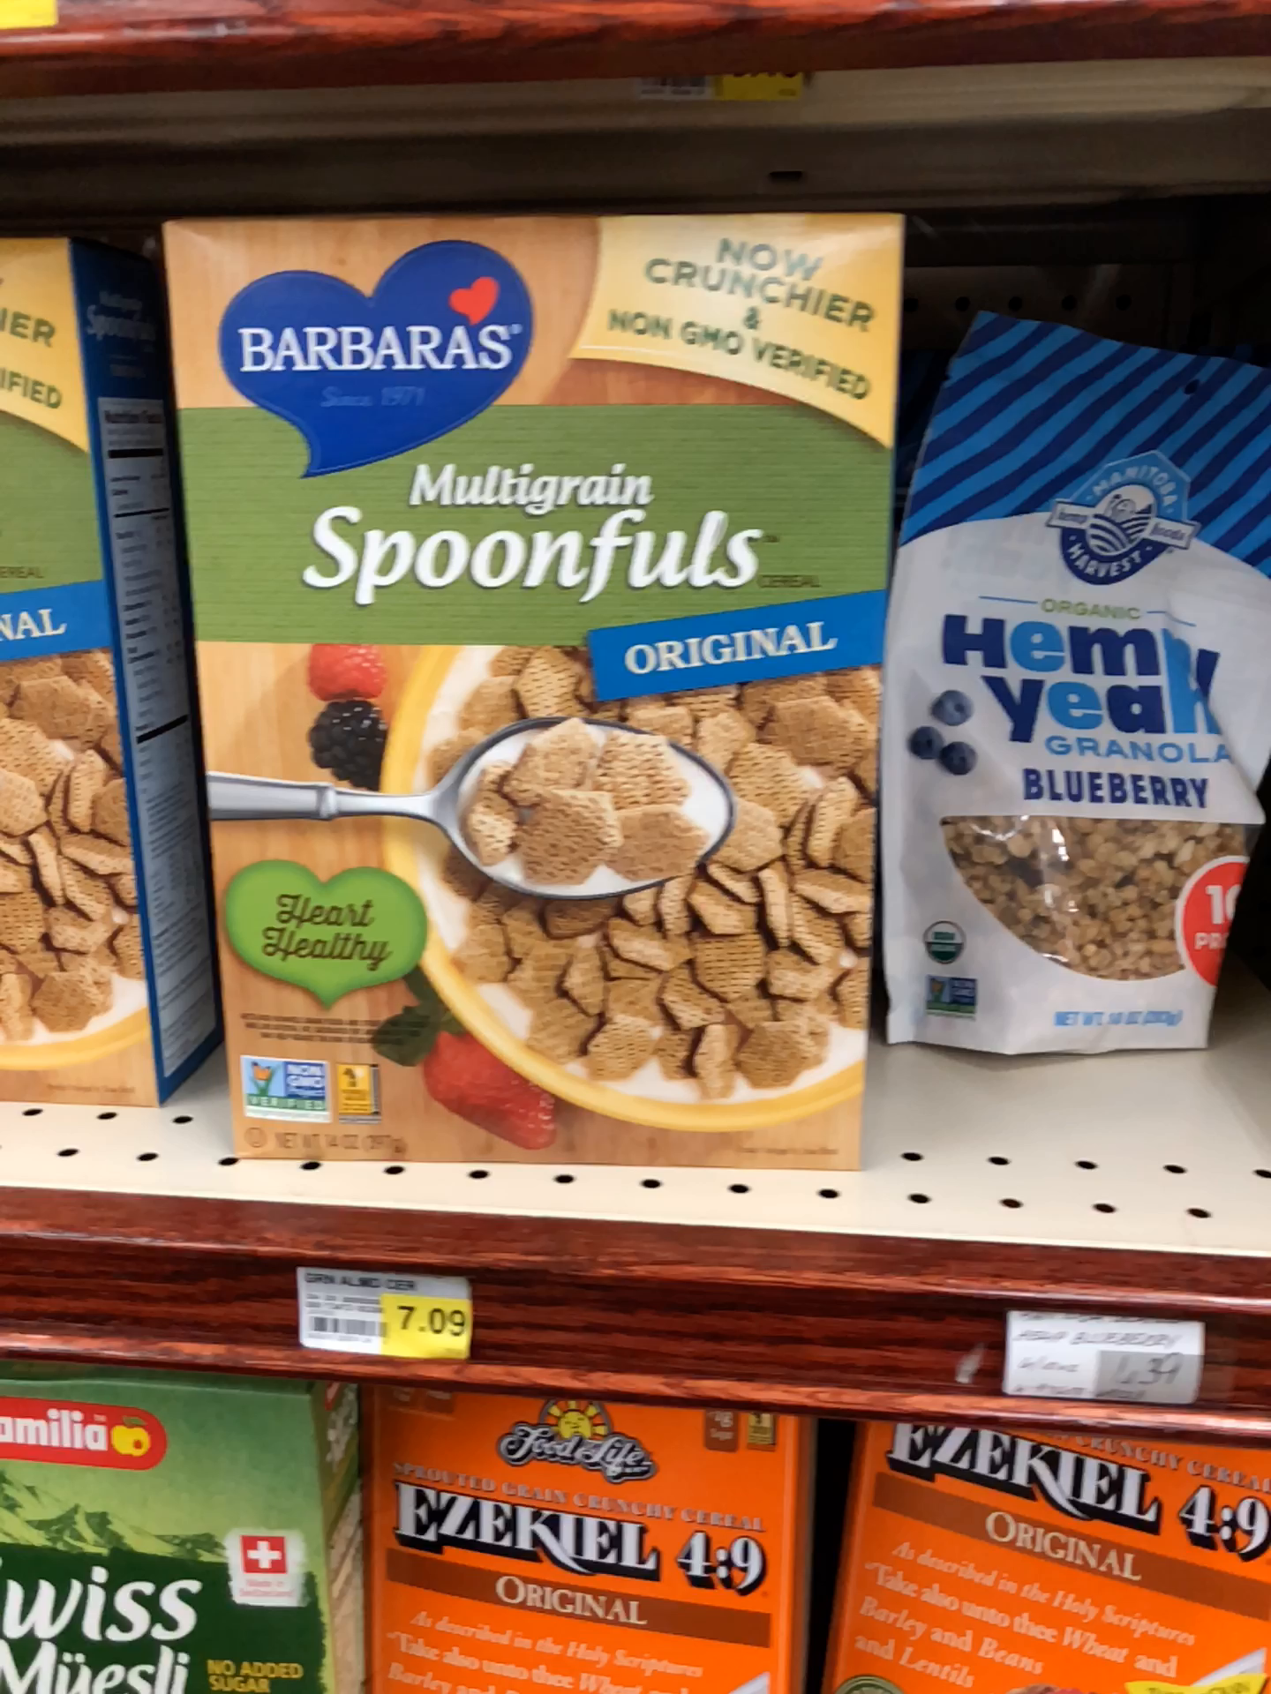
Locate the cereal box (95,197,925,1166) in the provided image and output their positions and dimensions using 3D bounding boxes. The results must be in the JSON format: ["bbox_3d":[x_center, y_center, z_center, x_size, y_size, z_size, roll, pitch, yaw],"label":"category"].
[{"bbox_3d":[-0.029,-0.040,0.396,0.200,0.250,0.060,0,14,3],"label":"cereal box"}]
